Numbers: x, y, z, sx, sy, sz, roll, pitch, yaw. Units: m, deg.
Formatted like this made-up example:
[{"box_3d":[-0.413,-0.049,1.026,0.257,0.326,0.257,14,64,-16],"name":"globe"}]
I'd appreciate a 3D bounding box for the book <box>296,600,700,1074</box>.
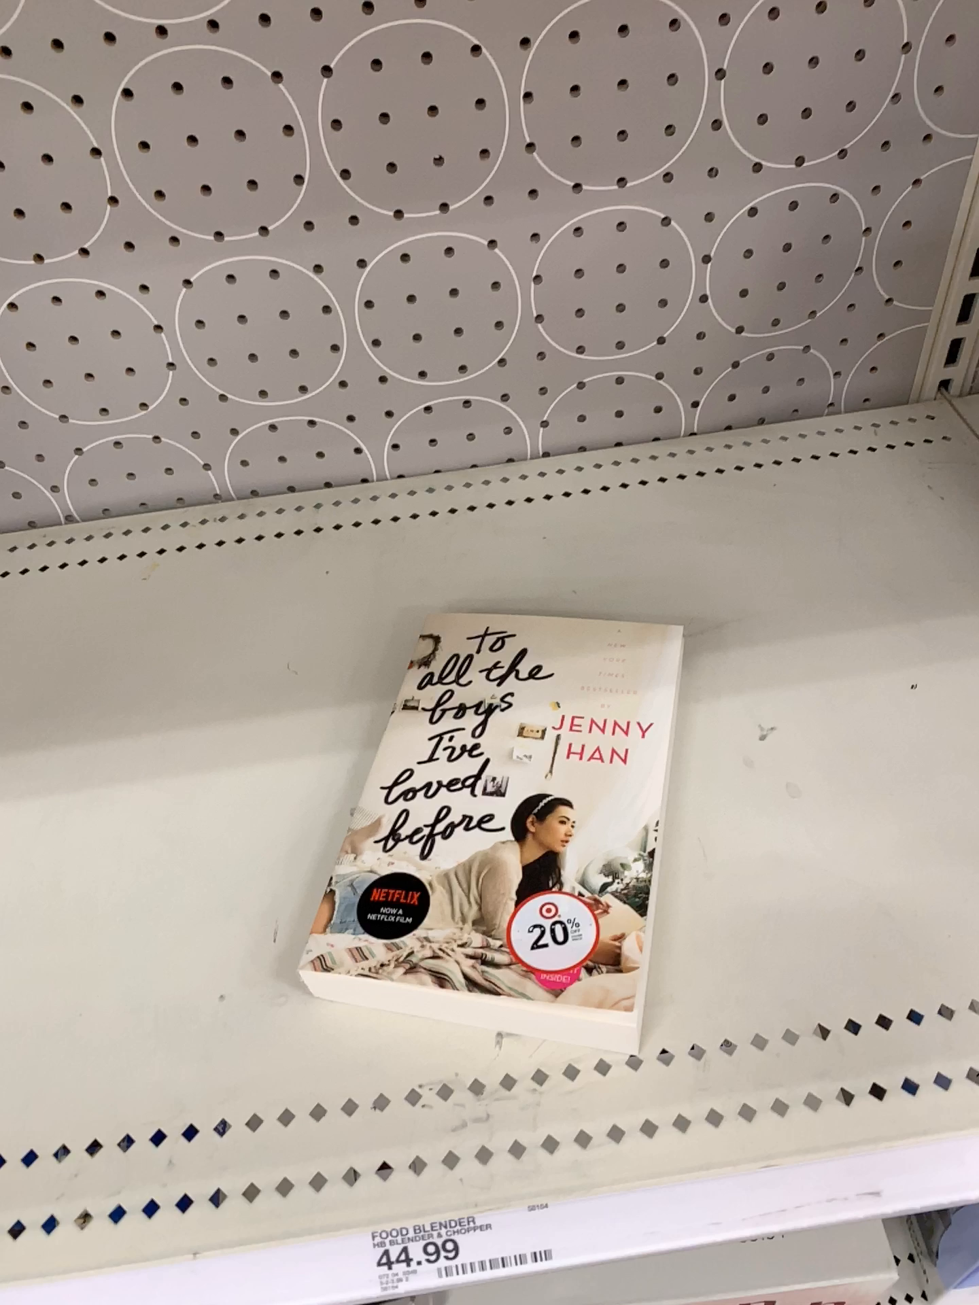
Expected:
[{"box_3d":[0.017,0.069,0.466,0.144,0.034,0.214,6,48,11],"name":"book"}]
